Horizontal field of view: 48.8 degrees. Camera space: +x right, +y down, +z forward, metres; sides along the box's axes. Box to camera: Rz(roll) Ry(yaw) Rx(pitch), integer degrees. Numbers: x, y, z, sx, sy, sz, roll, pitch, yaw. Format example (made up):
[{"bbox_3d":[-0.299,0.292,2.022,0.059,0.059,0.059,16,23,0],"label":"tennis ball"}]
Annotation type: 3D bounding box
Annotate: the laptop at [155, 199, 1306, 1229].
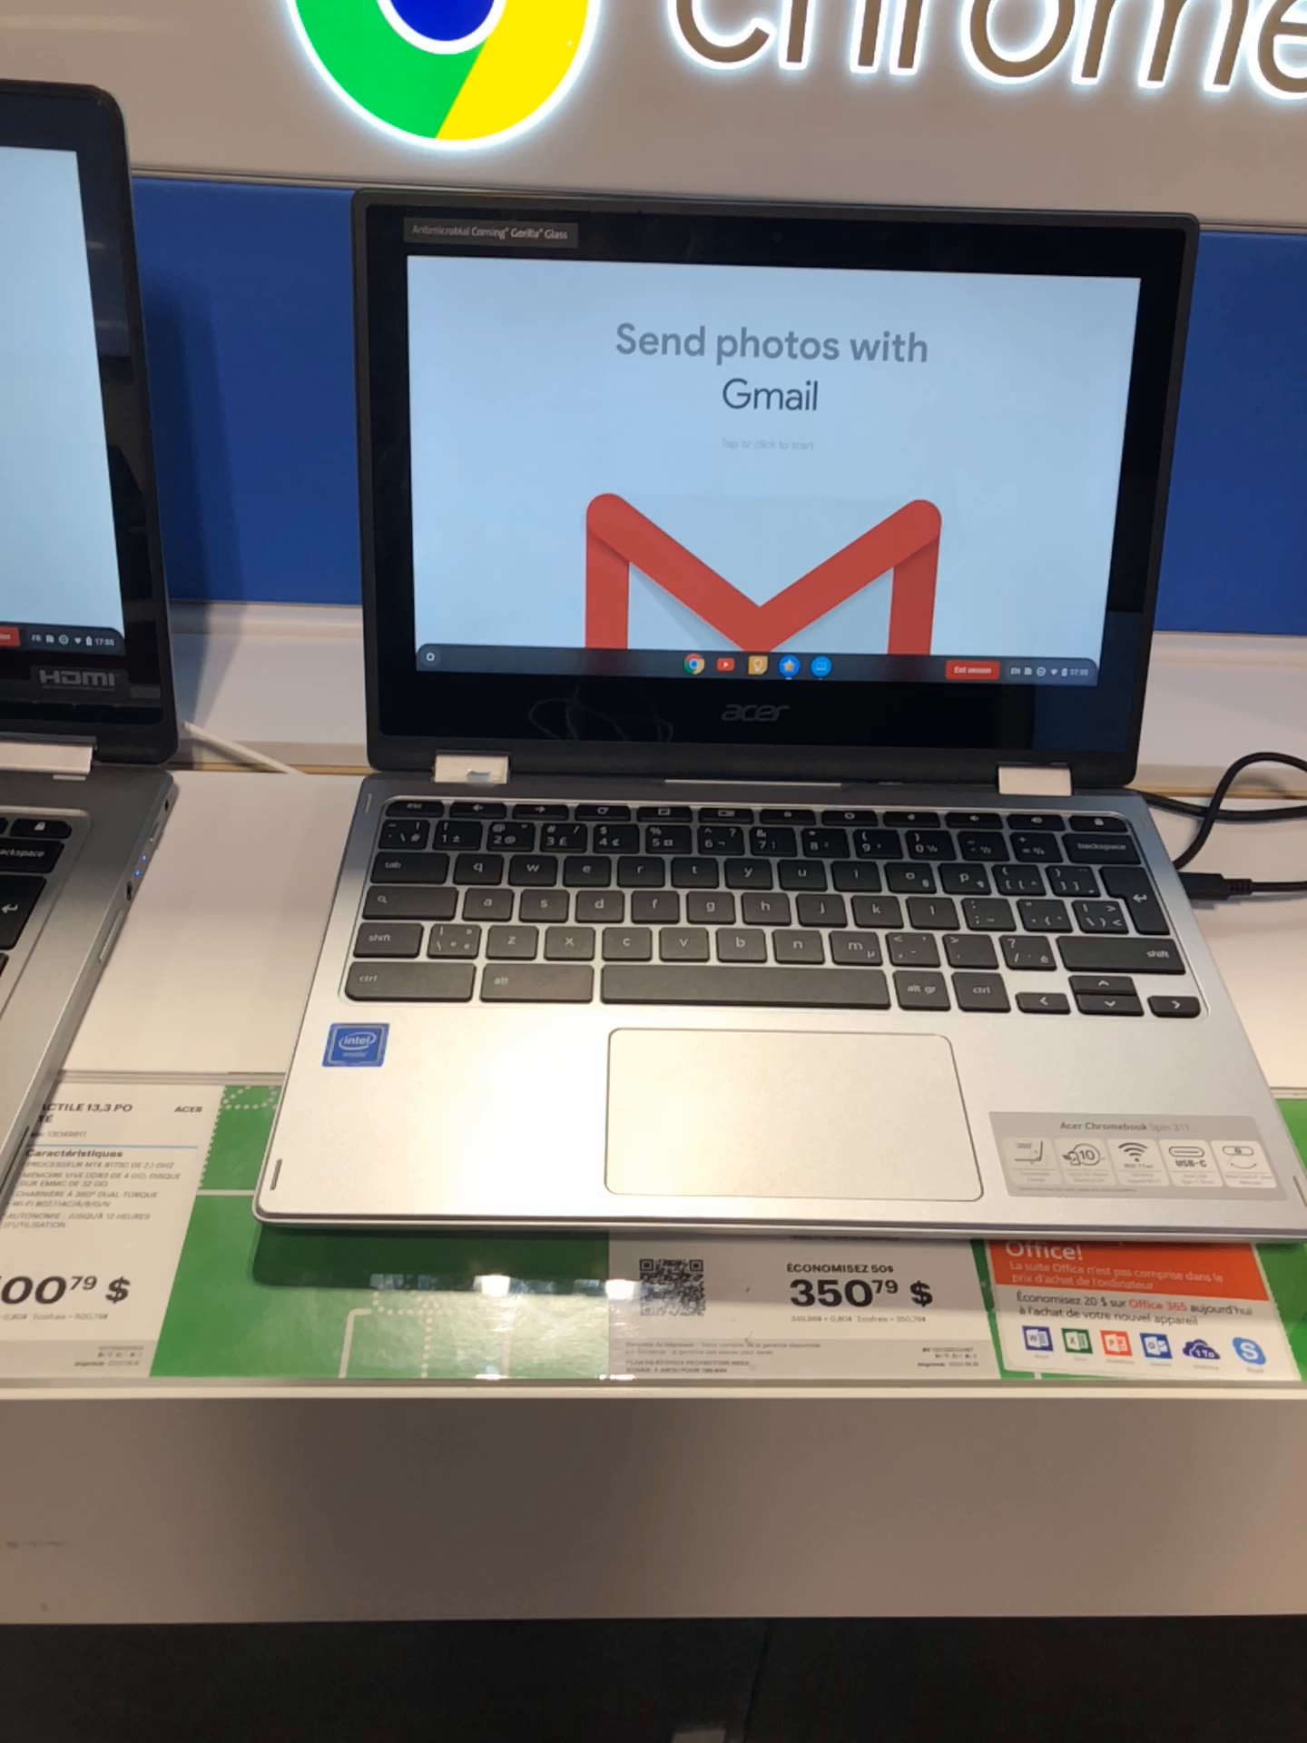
[{"bbox_3d":[0.043,-0.062,0.435,0.284,0.181,0.274,1,40,-3],"label":"laptop"}]
